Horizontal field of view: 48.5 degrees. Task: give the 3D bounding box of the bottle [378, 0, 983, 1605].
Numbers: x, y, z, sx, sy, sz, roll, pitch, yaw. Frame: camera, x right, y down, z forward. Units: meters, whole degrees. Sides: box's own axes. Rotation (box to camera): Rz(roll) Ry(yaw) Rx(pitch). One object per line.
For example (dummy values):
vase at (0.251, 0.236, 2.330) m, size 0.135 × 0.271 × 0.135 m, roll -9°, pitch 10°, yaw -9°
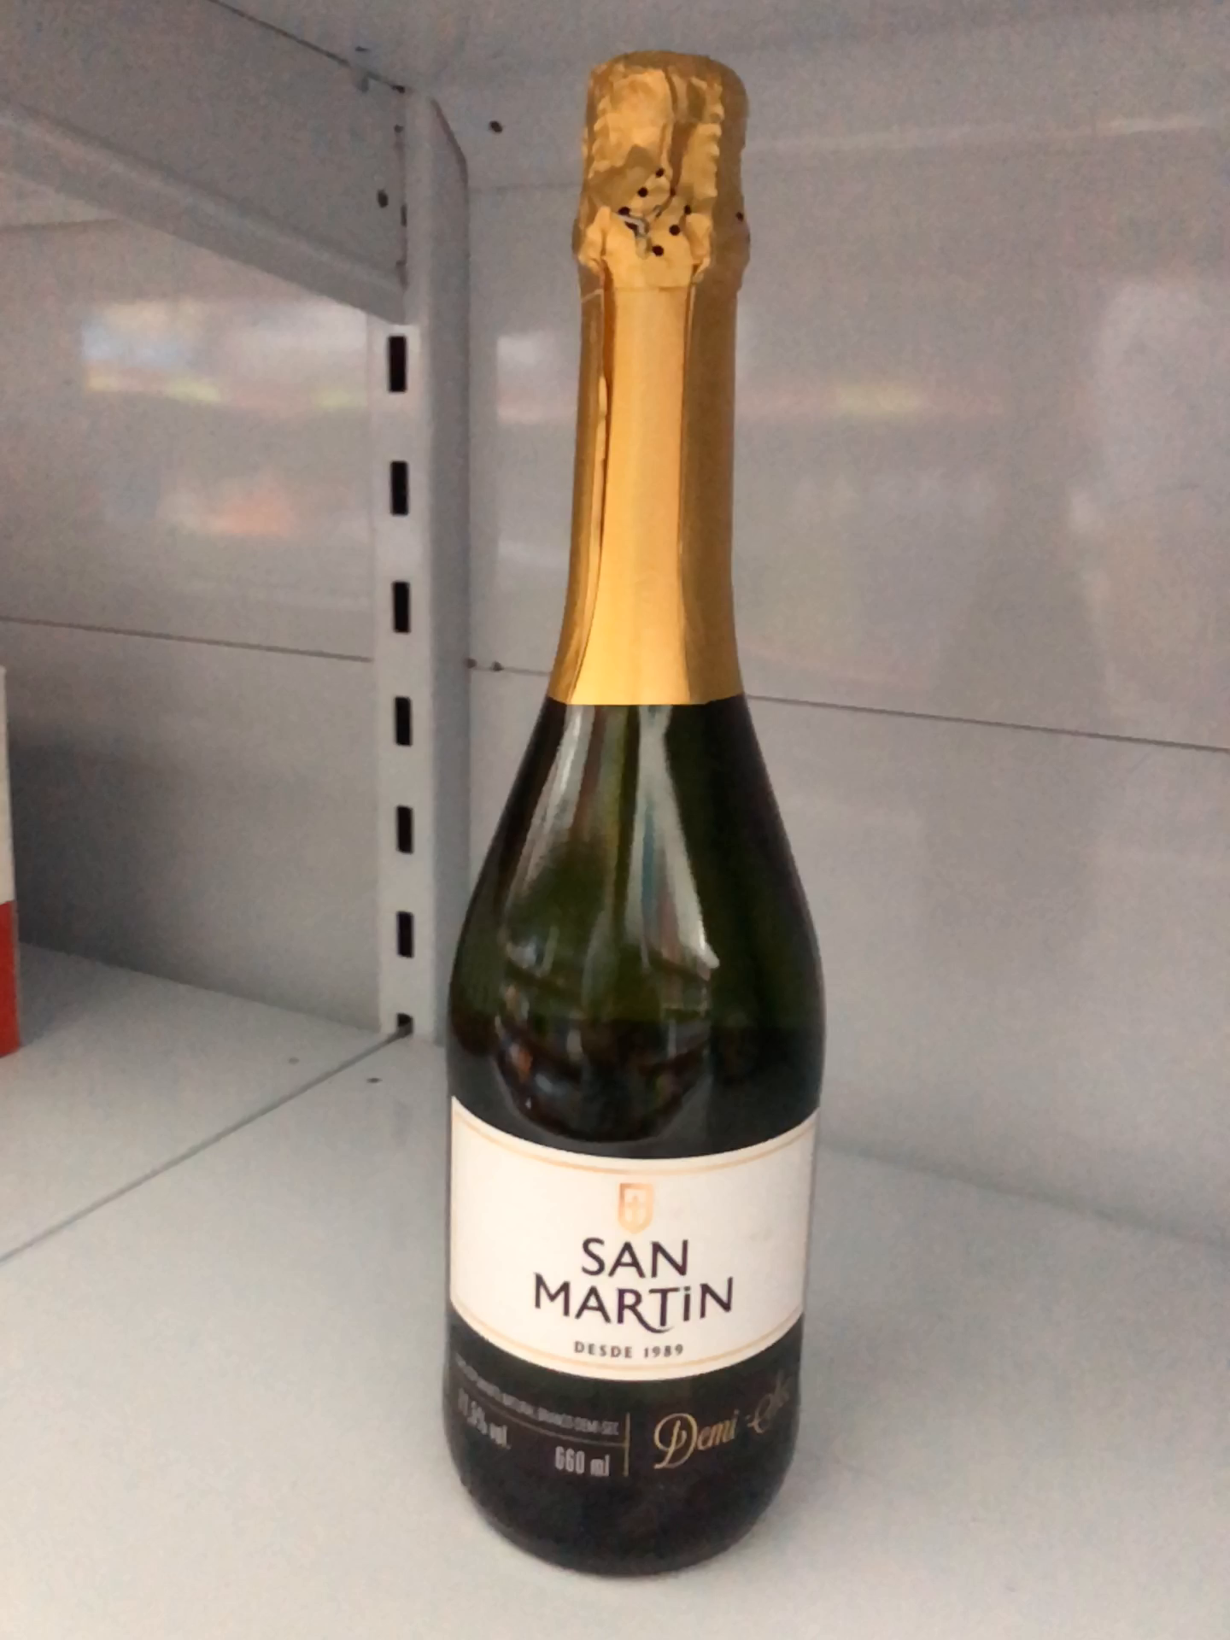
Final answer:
bottle at (0.007, -0.005, 0.278) m, size 0.090 × 0.309 × 0.080 m, roll 2°, pitch 13°, yaw 2°
